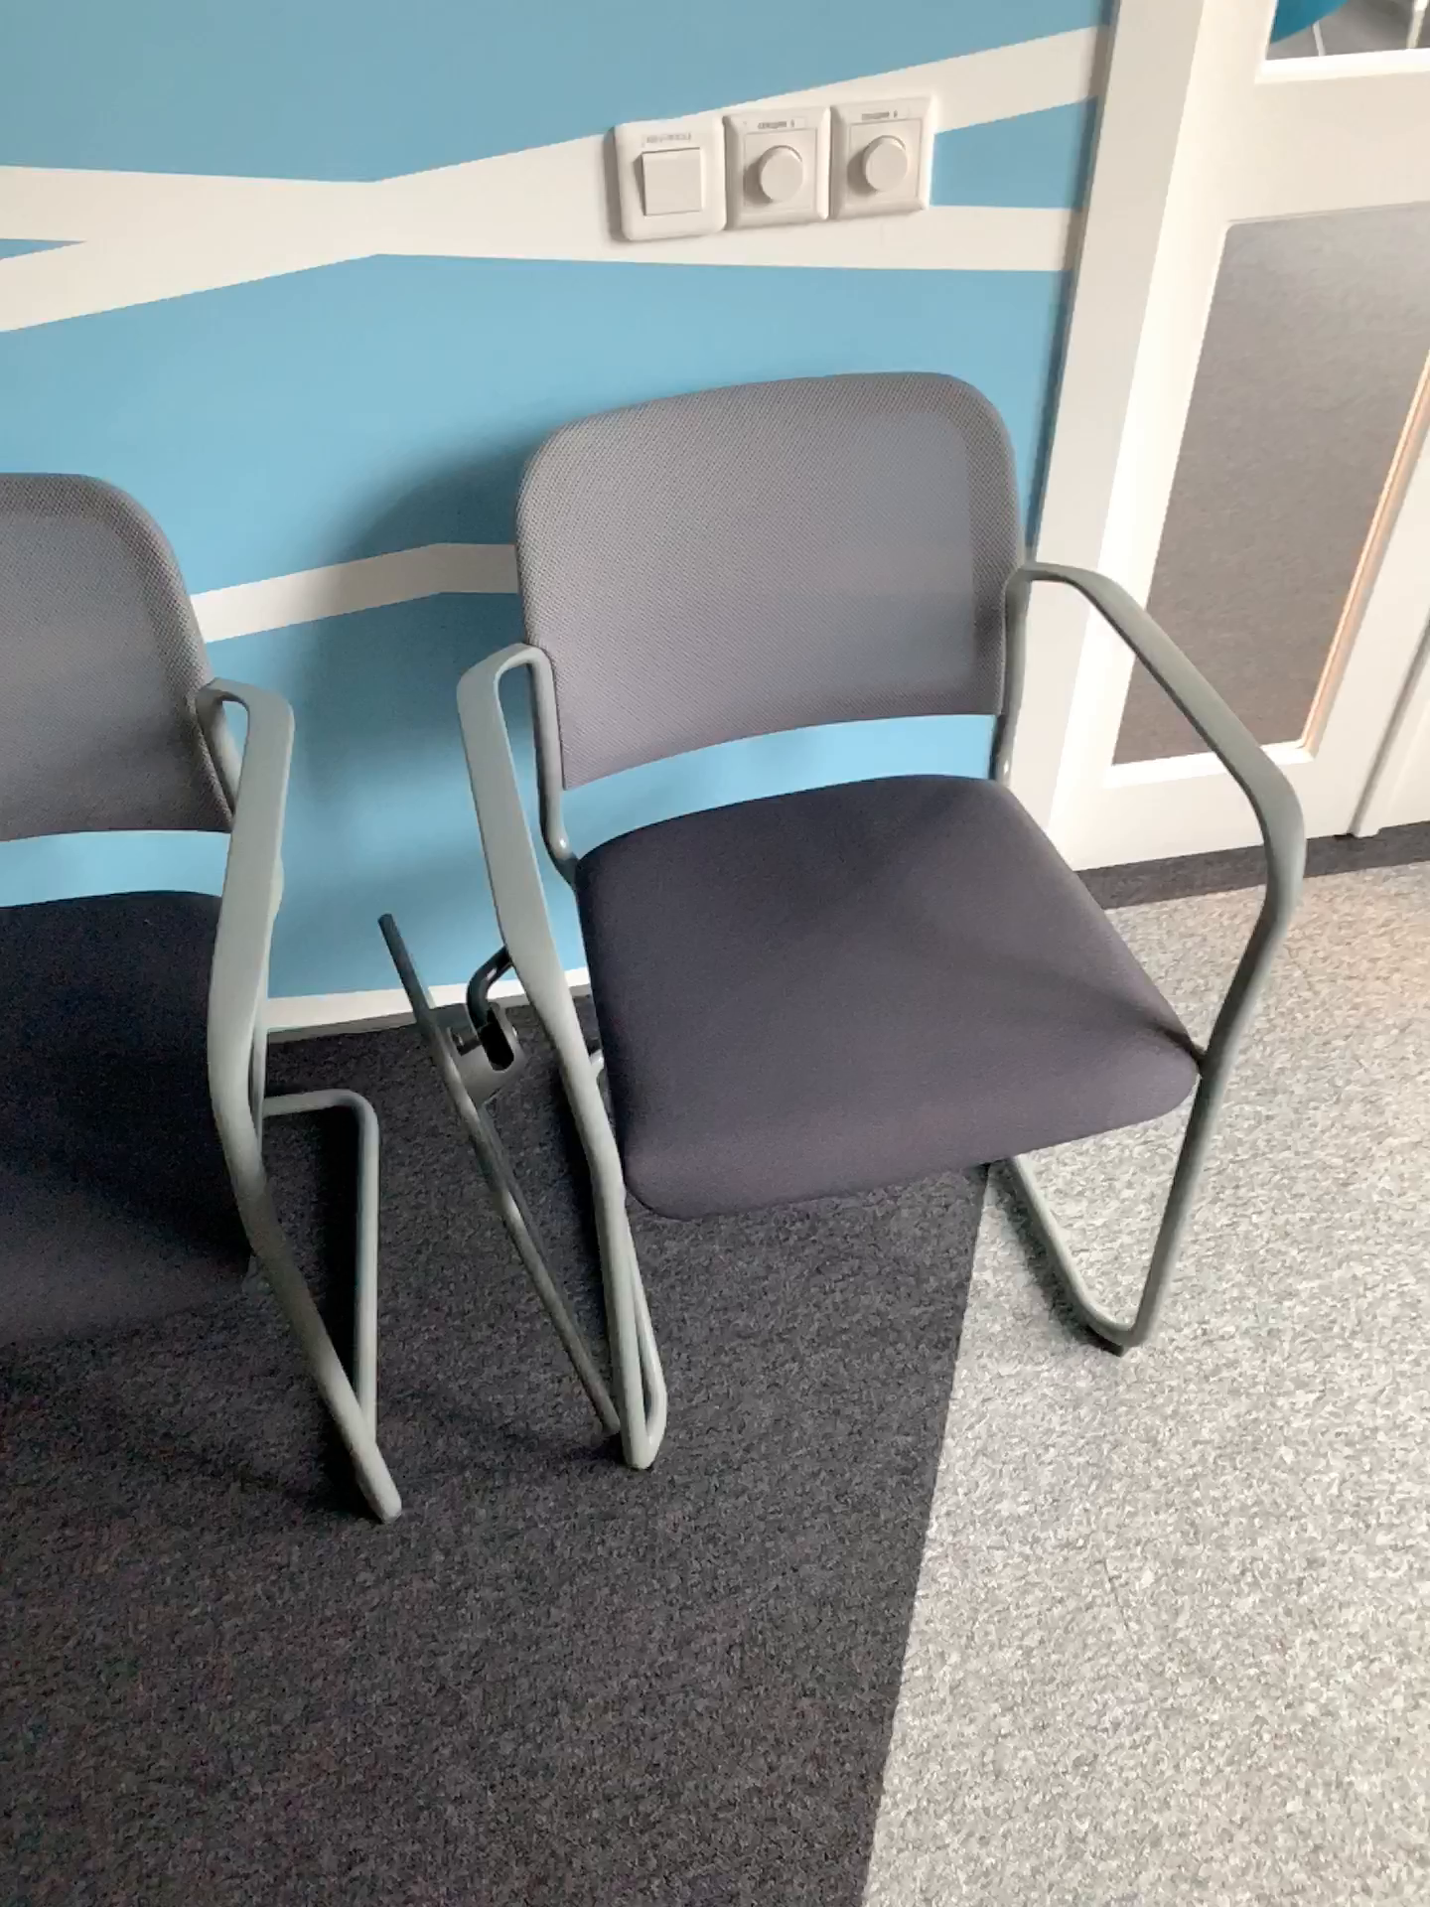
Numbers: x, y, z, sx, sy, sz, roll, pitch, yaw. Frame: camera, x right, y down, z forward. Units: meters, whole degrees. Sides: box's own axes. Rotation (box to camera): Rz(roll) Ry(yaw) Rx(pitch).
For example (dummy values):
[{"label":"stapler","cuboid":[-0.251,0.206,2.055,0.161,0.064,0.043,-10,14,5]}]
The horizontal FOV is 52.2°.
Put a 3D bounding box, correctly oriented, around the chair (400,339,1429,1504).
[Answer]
[{"label":"chair","cuboid":[0.102,-0.040,1.233,0.570,0.627,0.643,-10,47,-8]}]
